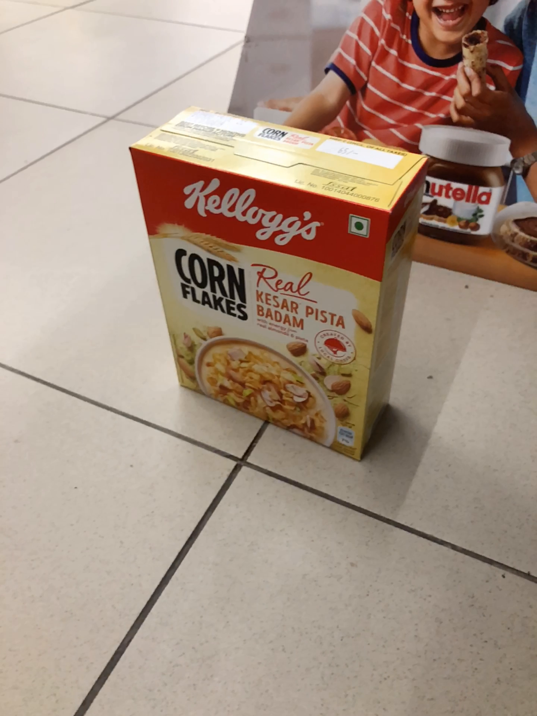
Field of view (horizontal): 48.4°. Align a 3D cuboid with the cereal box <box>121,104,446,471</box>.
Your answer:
[{"bbox_3d":[0.007,-0.036,0.338,0.140,0.169,0.060,19,47,20],"label":"cereal box"}]
